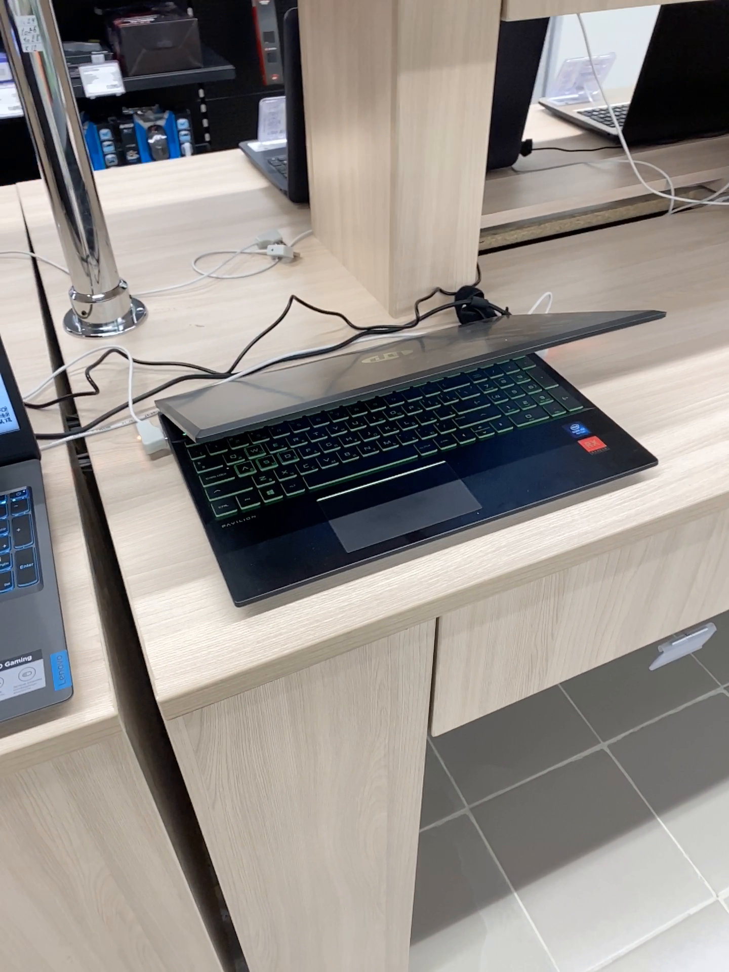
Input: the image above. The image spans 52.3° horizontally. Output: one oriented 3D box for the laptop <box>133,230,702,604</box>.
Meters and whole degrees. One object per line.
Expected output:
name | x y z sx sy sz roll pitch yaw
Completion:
laptop | 0.031 -0.081 0.602 0.364 0.108 0.236 -16 44 -18
